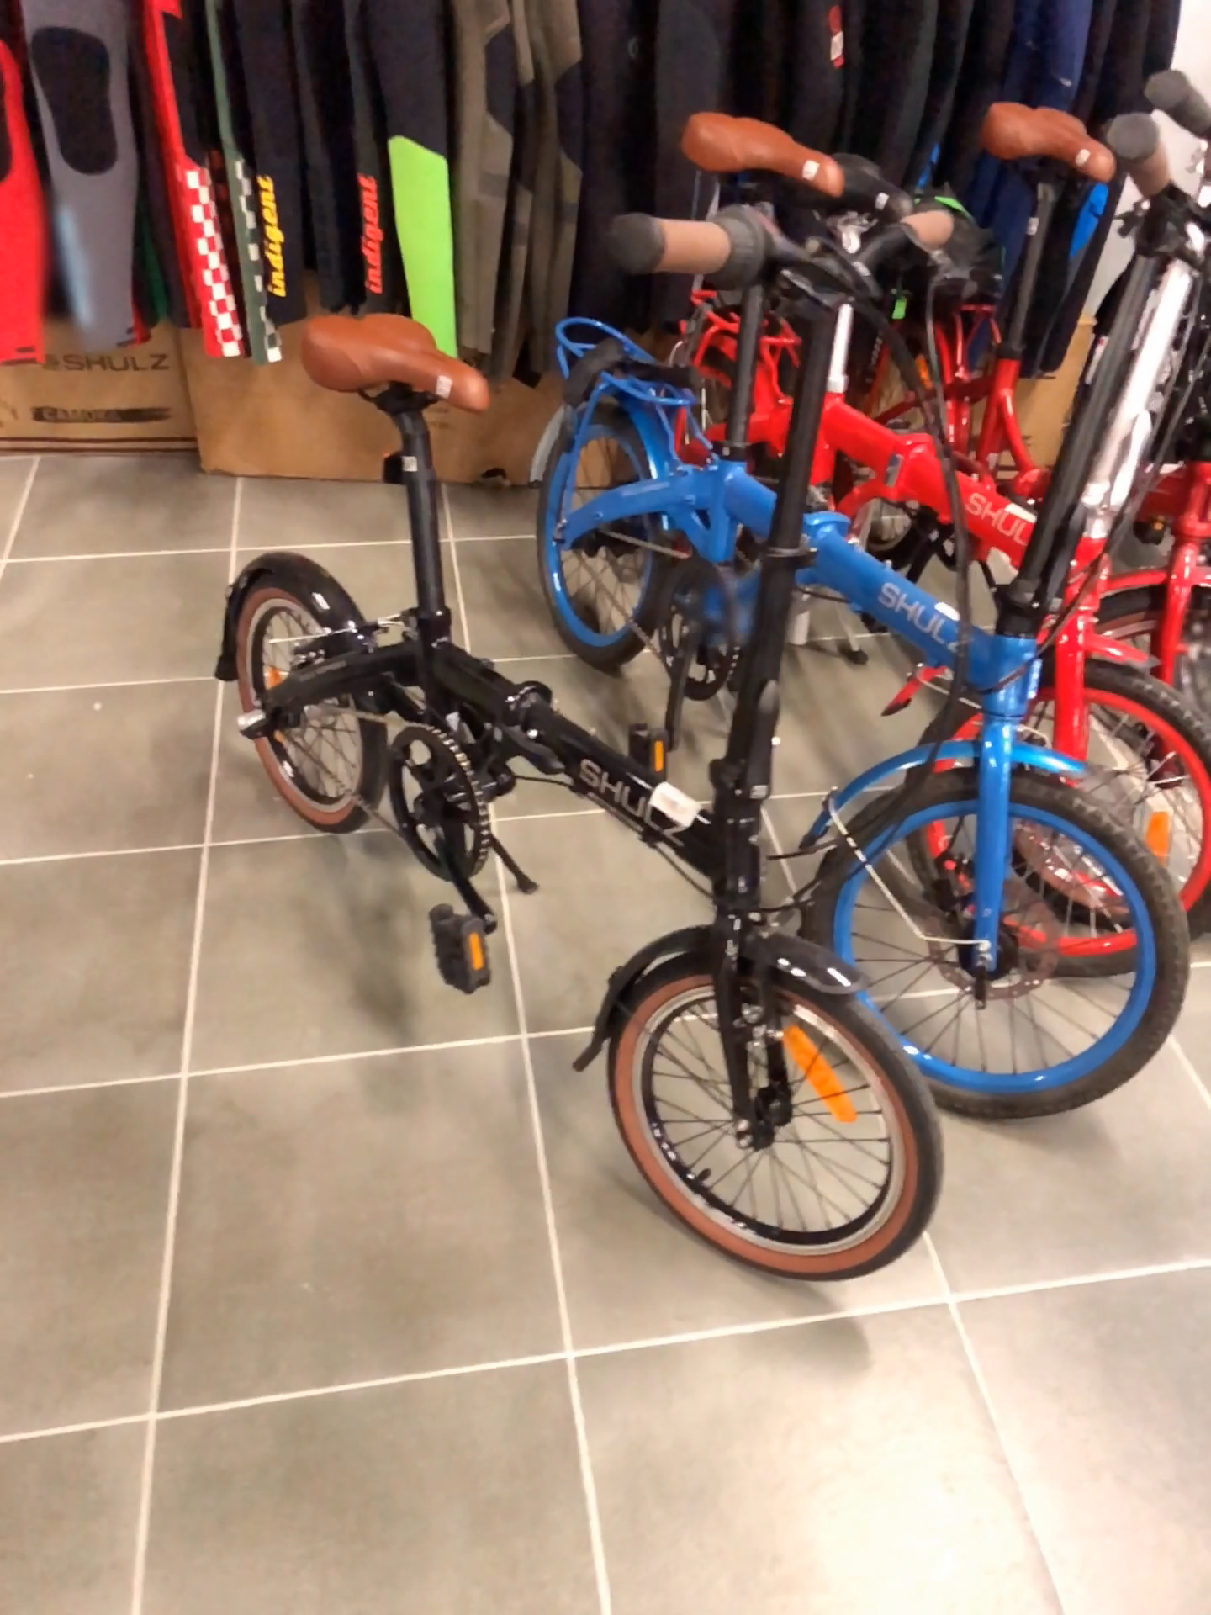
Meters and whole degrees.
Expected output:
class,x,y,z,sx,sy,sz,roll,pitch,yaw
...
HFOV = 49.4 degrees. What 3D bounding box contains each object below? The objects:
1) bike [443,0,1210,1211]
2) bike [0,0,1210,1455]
class,x,y,z,sx,sy,sz,roll,pitch,yaw
bike,0.375,-0.420,1.763,0.568,1.029,1.378,-21,48,-25
bike,-0.074,-0.216,1.443,0.566,1.057,1.277,-30,50,-33
